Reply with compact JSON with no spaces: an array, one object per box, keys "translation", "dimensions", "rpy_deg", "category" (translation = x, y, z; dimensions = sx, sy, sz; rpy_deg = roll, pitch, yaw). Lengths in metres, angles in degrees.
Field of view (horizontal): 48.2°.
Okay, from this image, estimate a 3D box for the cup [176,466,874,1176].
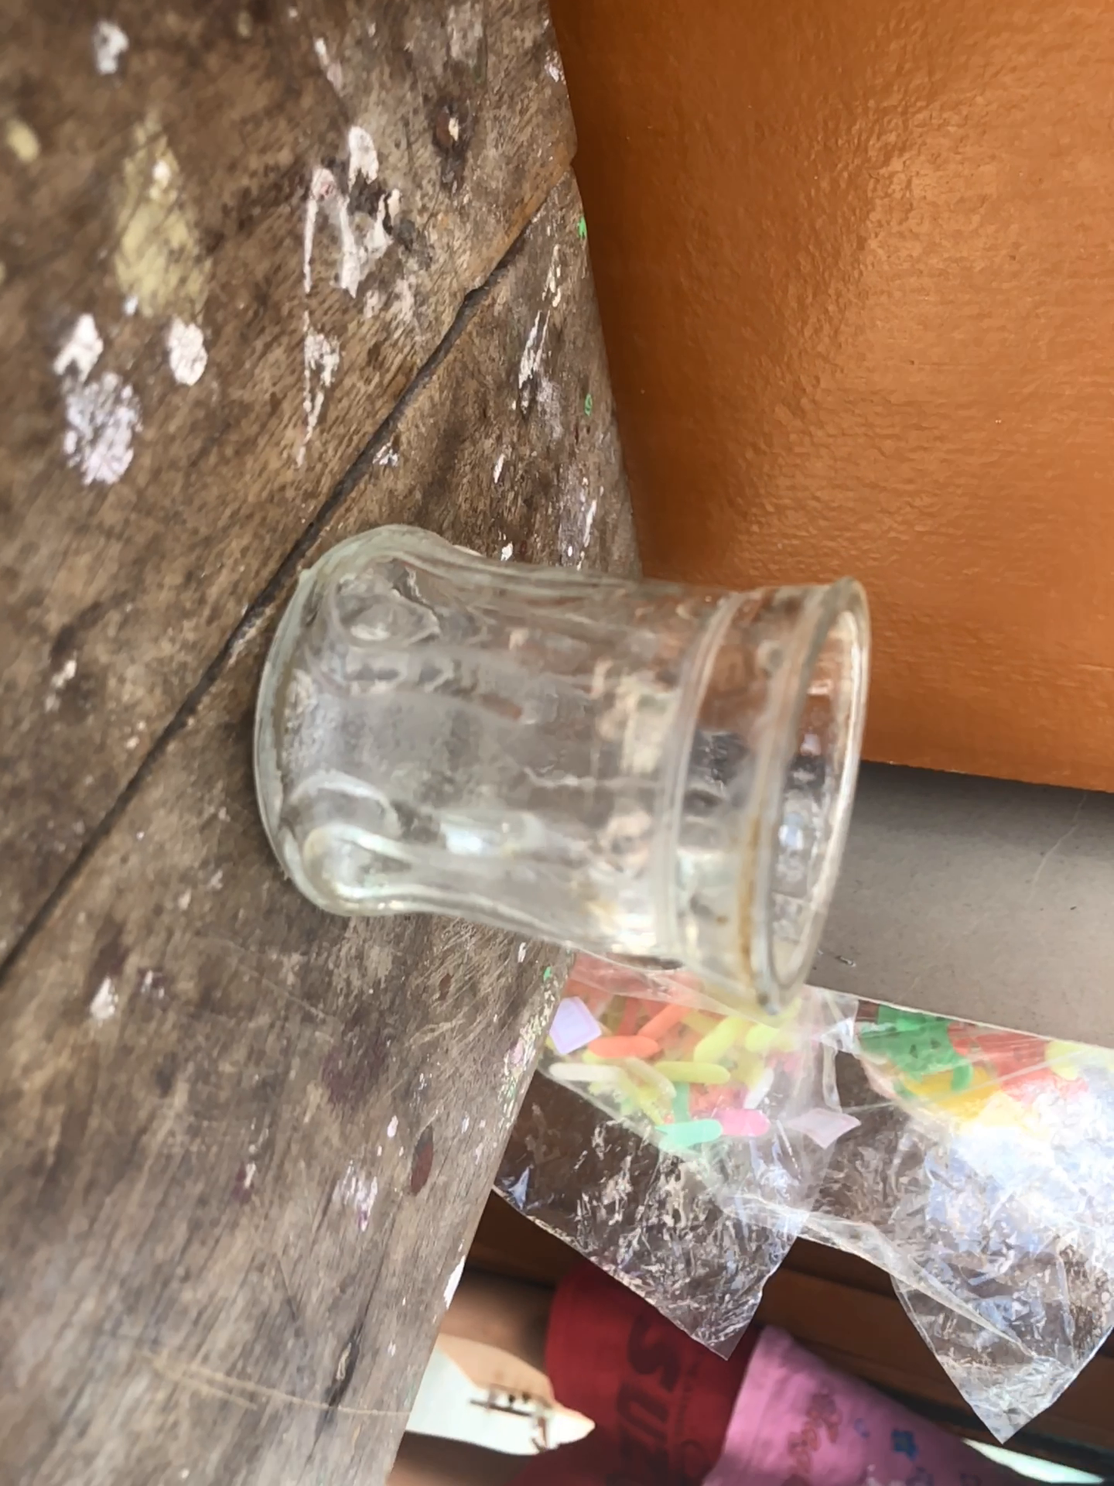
[{"translation":[0.005,0.013,0.163],"dimensions":[0.080,0.060,0.050],"rpy_deg":[68,36,-52],"category":"cup"}]
